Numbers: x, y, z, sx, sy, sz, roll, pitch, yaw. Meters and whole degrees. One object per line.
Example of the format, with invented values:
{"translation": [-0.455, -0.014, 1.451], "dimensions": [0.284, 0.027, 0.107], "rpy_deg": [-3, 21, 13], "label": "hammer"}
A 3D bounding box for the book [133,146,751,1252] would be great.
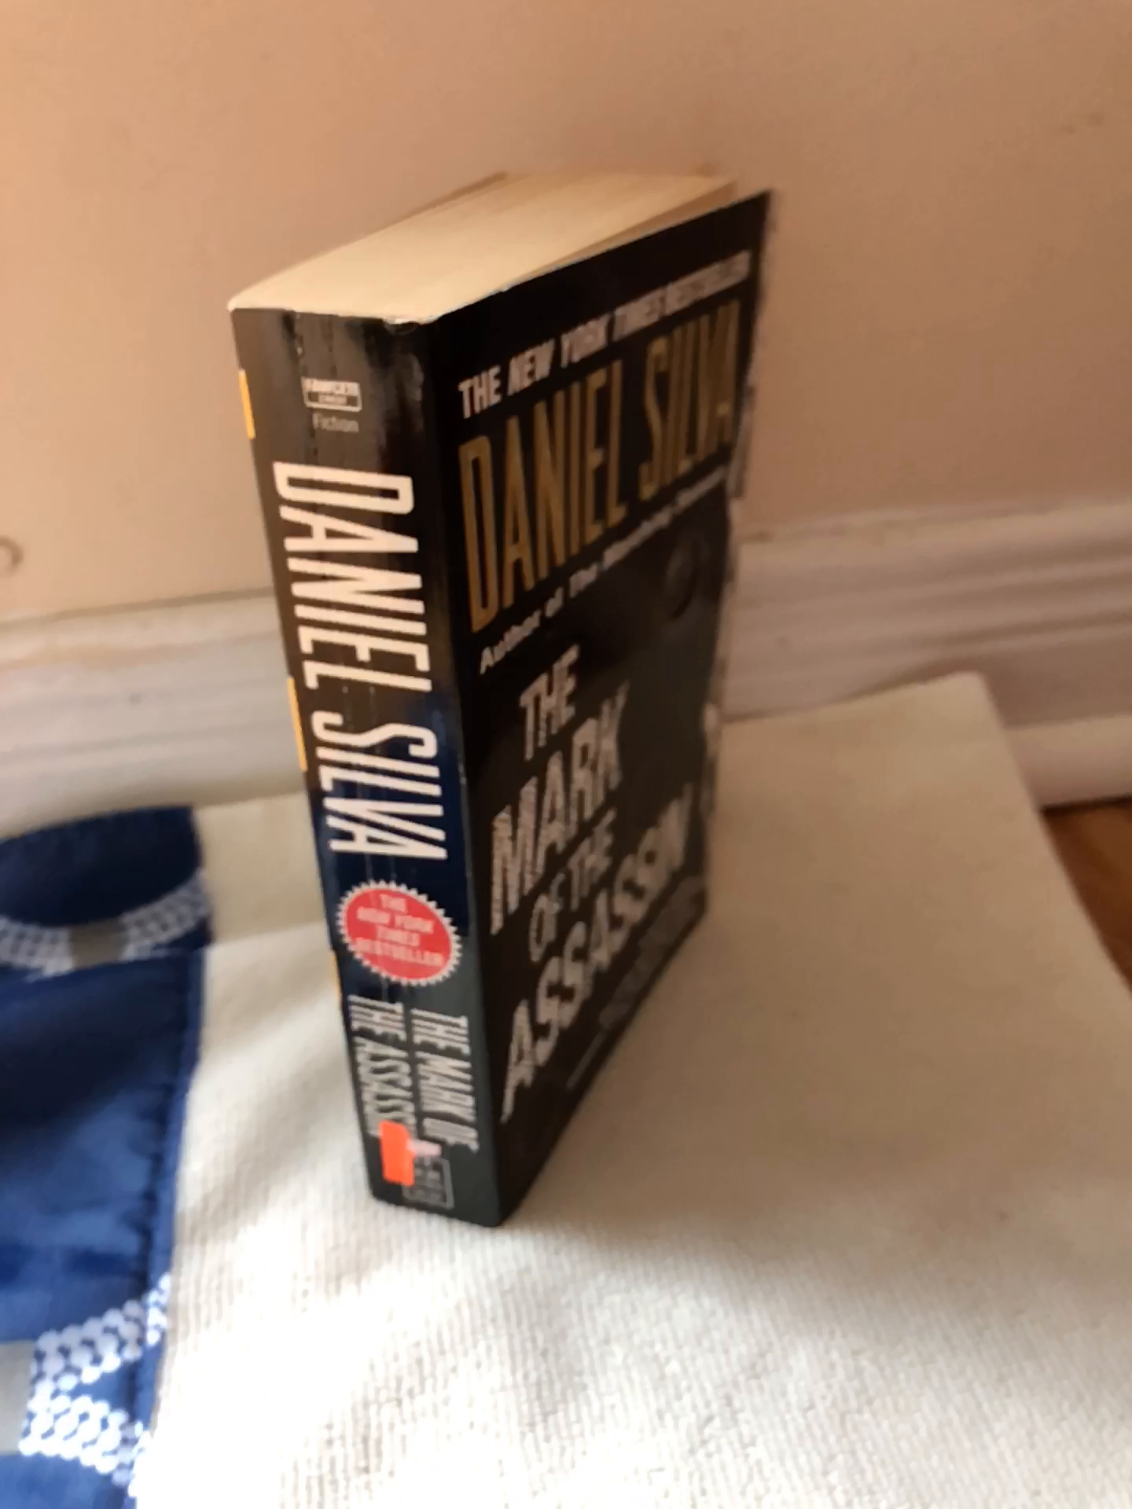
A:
{"translation": [-0.007, -0.014, 0.246], "dimensions": [0.045, 0.169, 0.119], "rpy_deg": [12, 35, 21], "label": "book"}
